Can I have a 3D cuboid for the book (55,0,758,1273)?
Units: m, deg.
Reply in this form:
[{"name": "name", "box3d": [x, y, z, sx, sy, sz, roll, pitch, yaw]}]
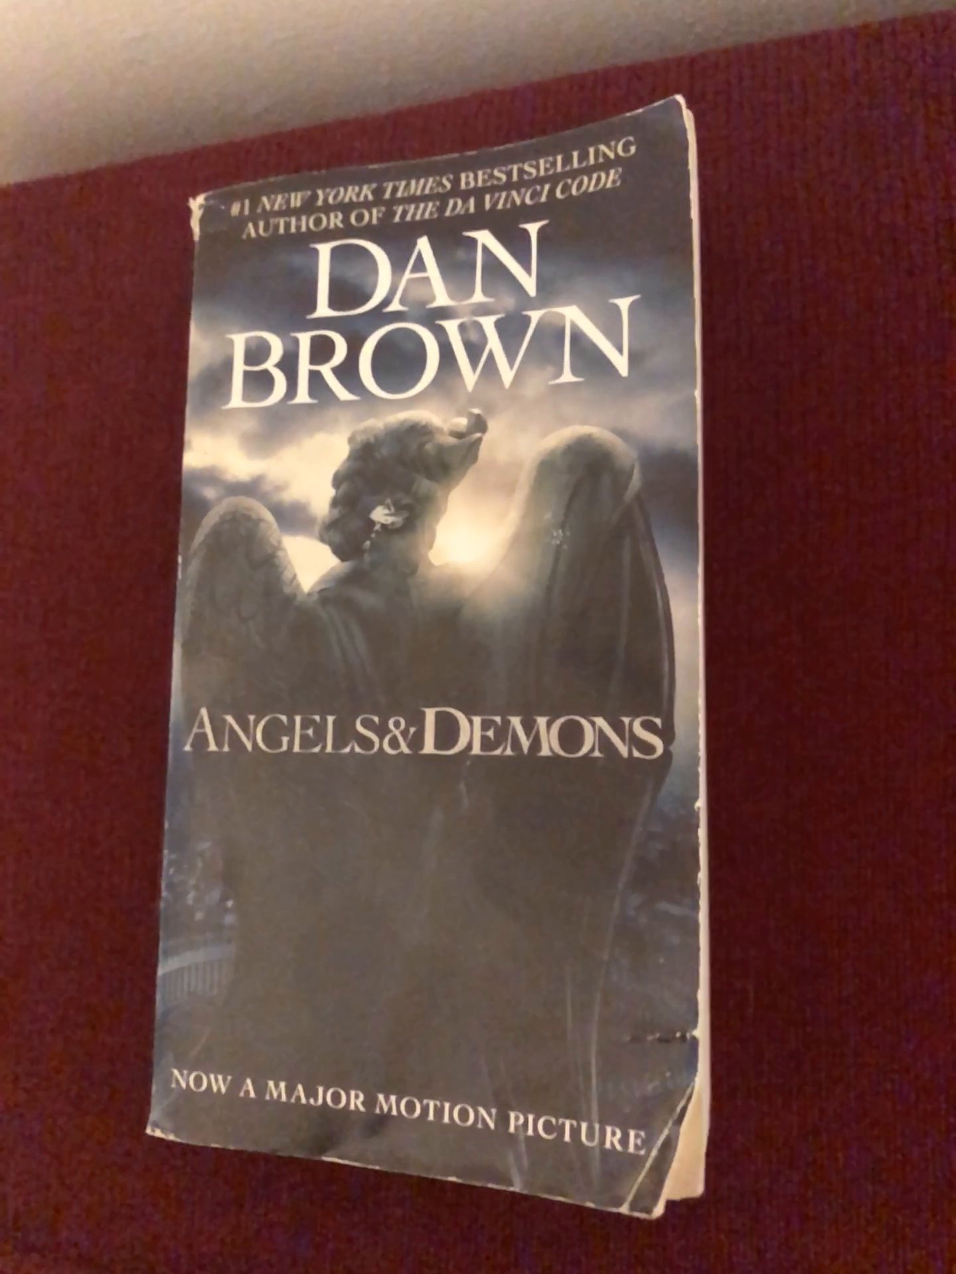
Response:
[{"name": "book", "box3d": [-0.012, -0.005, 0.207, 0.120, 0.040, 0.210, -2, 81, 20]}]
